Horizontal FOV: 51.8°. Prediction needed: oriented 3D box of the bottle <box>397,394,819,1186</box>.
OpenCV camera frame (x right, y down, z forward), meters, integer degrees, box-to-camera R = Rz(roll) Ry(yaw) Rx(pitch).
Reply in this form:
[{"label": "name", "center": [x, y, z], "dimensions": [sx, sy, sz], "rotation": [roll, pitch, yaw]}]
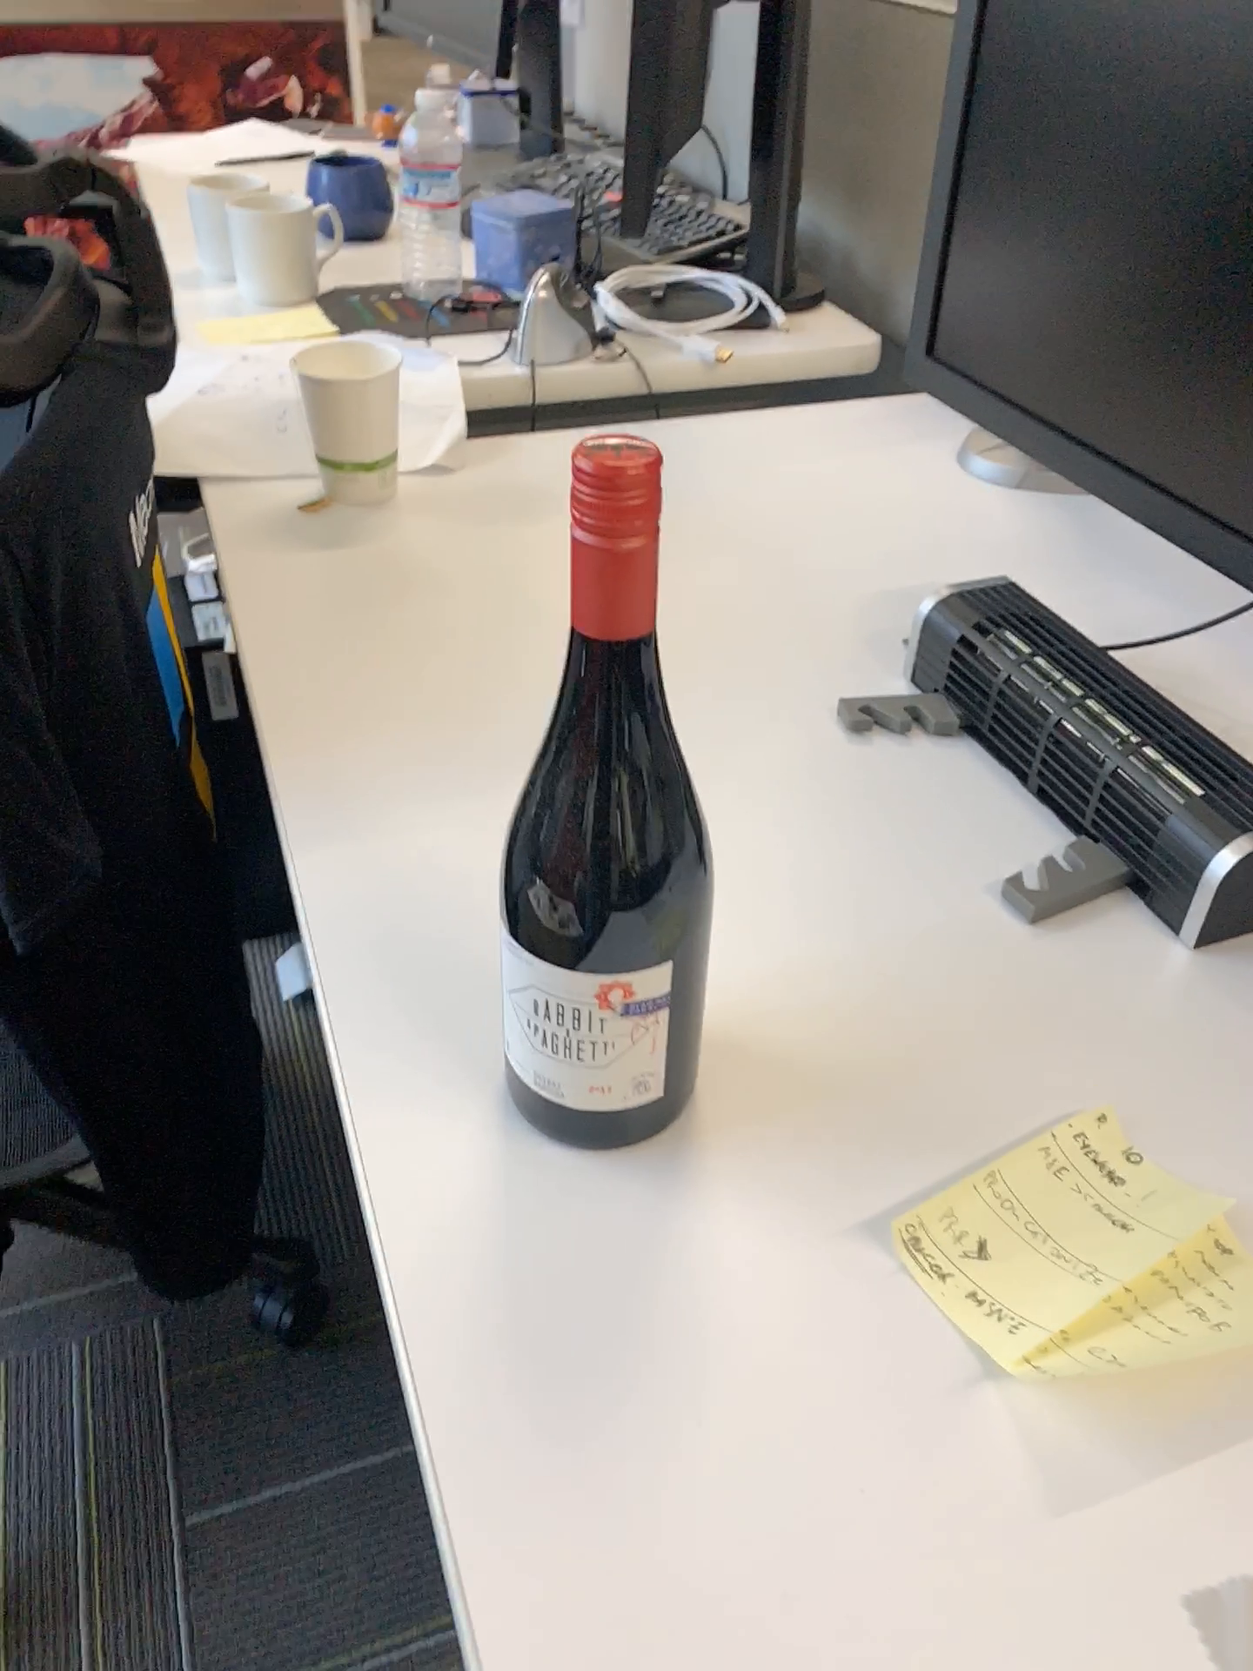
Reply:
[{"label": "bottle", "center": [-0.006, -0.009, 0.495], "dimensions": [0.097, 0.270, 0.110], "rotation": [17, 40, 18]}]
